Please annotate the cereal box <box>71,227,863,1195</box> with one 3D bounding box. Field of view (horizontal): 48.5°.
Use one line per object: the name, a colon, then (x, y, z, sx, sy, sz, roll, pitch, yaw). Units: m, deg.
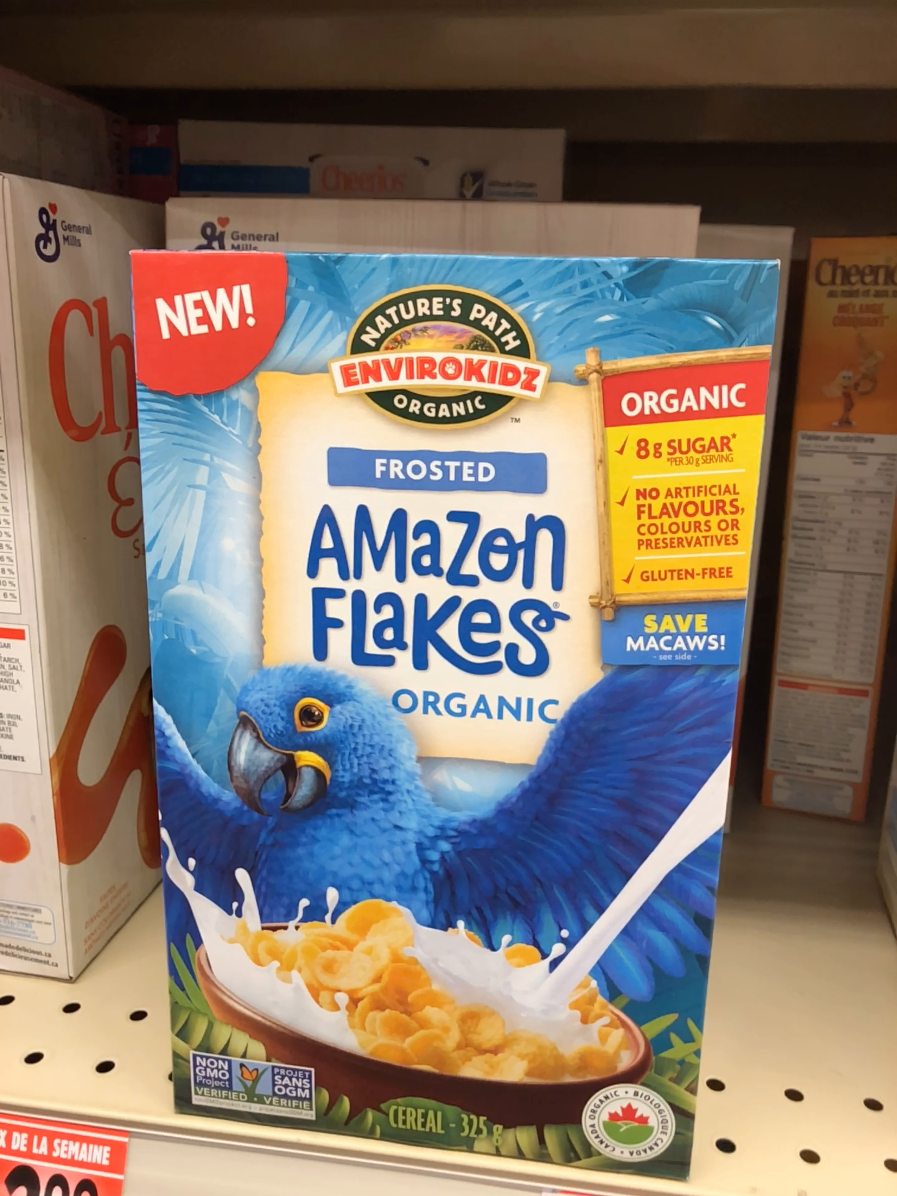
cereal box: (0.000, 0.034, 0.270, 0.170, 0.249, 0.050, 4, 16, 8)
